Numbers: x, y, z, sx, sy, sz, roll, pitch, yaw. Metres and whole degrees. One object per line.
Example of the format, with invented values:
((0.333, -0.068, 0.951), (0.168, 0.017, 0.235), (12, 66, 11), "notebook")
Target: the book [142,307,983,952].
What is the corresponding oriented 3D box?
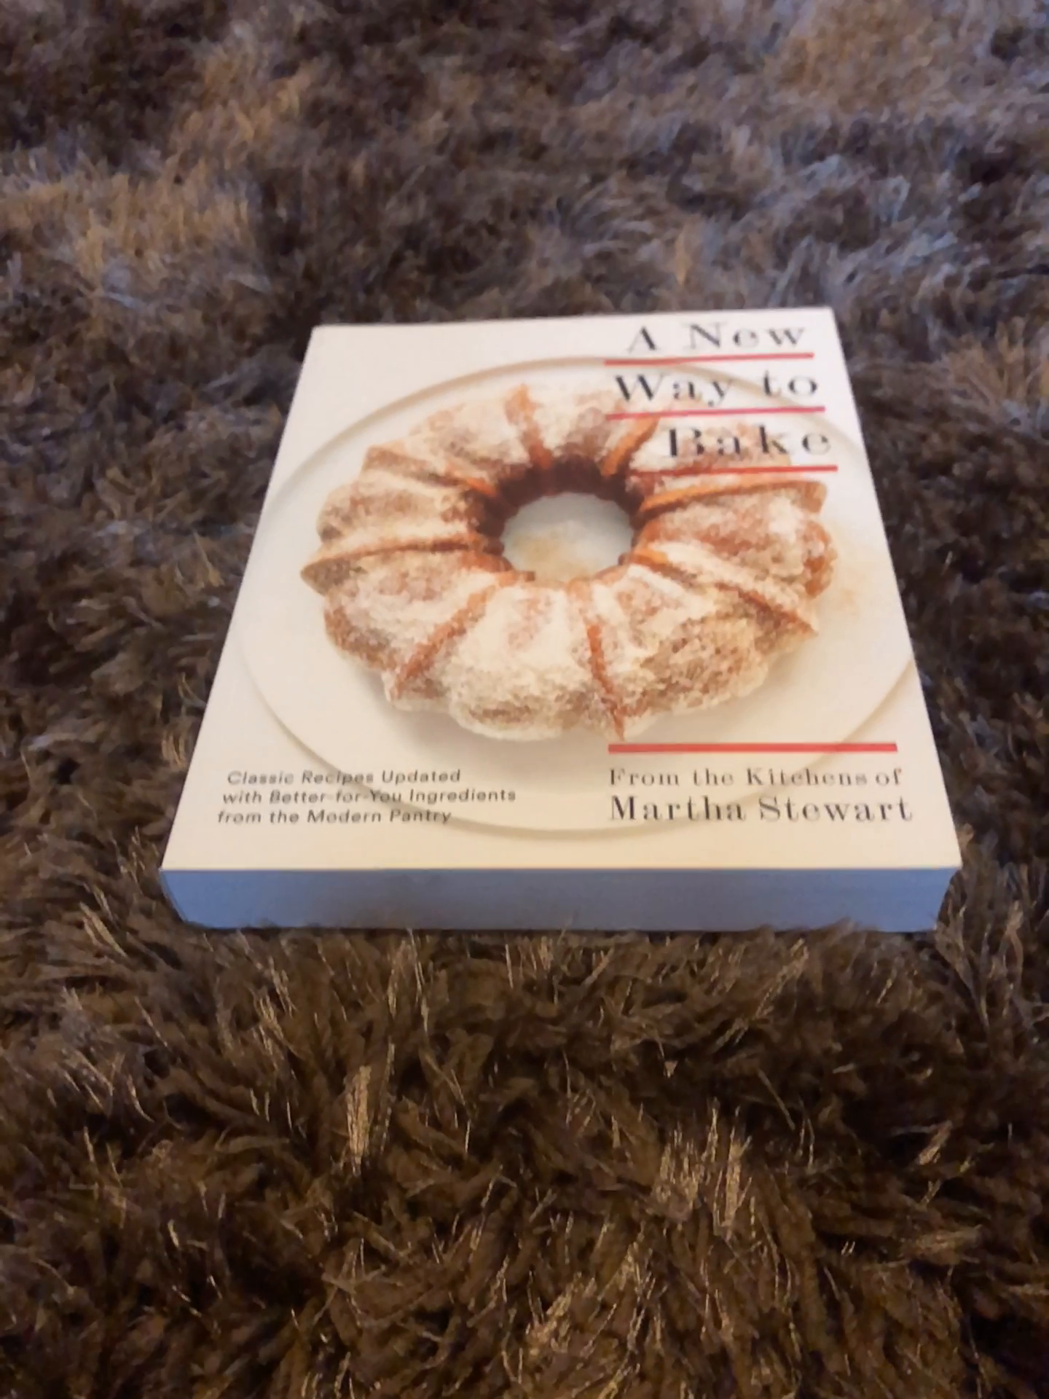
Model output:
((0.011, -0.036, 0.357), (0.192, 0.040, 0.230), (-1, 49, 3), "book")
